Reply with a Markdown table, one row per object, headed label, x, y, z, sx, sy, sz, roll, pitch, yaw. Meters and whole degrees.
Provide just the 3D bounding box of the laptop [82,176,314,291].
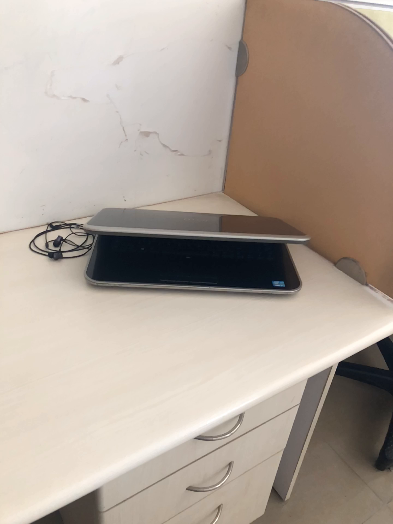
| label | x | y | z | sx | sy | sz | roll | pitch | yaw |
| --- | --- | --- | --- | --- | --- | --- | --- | --- | --- |
| laptop | -0.002 | -0.061 | 0.788 | 0.357 | 0.094 | 0.240 | 3 | 31 | -4 |
